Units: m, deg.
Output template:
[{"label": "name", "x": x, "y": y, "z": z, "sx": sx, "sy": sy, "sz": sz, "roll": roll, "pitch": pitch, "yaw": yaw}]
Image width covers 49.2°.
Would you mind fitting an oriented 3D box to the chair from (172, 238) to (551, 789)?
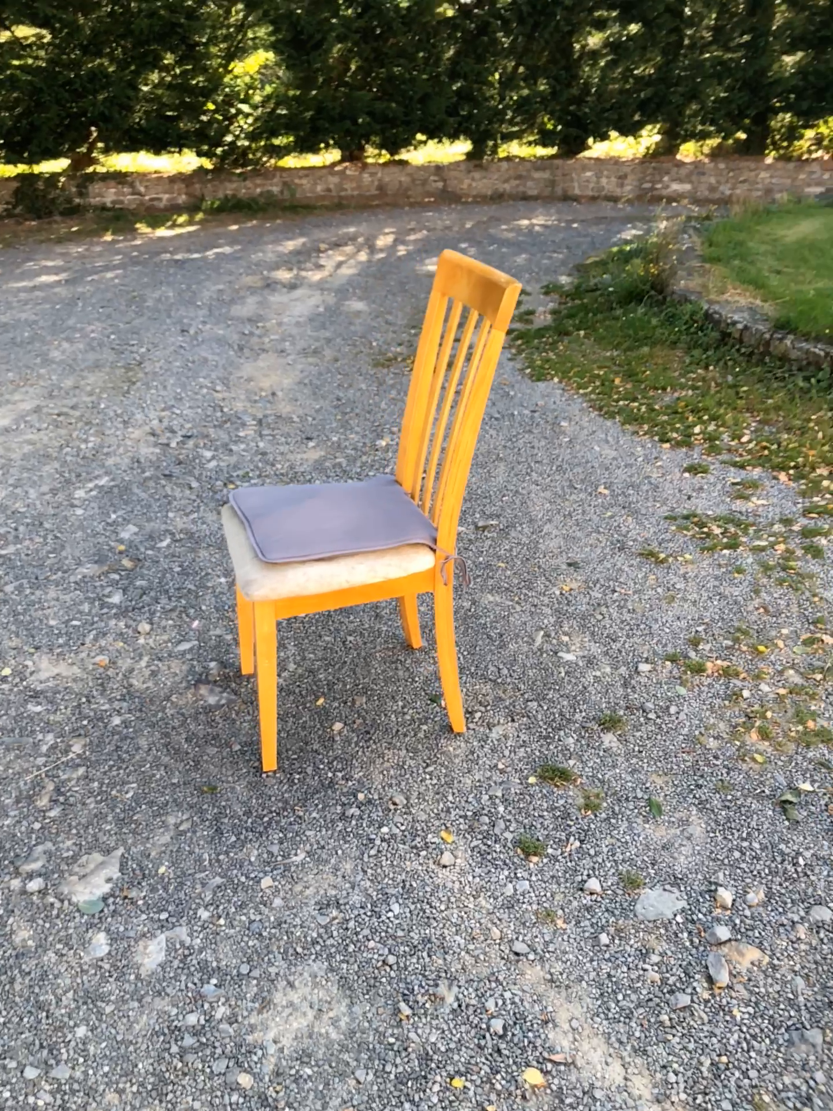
[{"label": "chair", "x": -0.134, "y": -0.110, "z": 1.974, "sx": 0.611, "sy": 0.994, "sz": 0.512, "roll": -9, "pitch": 30, "yaw": -16}]
